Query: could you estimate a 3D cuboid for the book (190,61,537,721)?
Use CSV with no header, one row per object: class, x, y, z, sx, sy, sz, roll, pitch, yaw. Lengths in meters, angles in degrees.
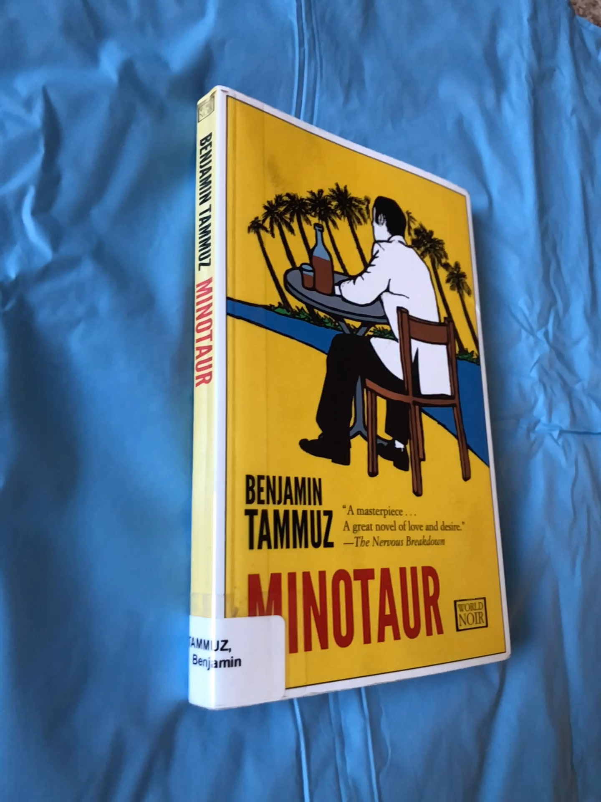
book,0.028,-0.004,0.263,0.142,0.027,0.212,8,75,-36
